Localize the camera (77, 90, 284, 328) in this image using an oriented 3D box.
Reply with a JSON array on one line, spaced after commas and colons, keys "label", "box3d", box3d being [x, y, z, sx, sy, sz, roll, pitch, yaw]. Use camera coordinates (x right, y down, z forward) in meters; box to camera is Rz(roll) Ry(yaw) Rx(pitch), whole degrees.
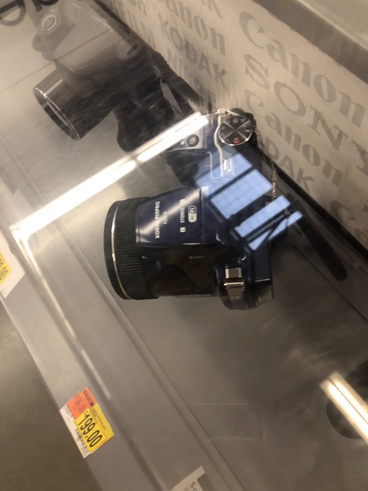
[{"label": "camera", "box3d": [0.001, -0.020, 0.277, 0.110, 0.080, 0.130, -4, 66, 7]}]
